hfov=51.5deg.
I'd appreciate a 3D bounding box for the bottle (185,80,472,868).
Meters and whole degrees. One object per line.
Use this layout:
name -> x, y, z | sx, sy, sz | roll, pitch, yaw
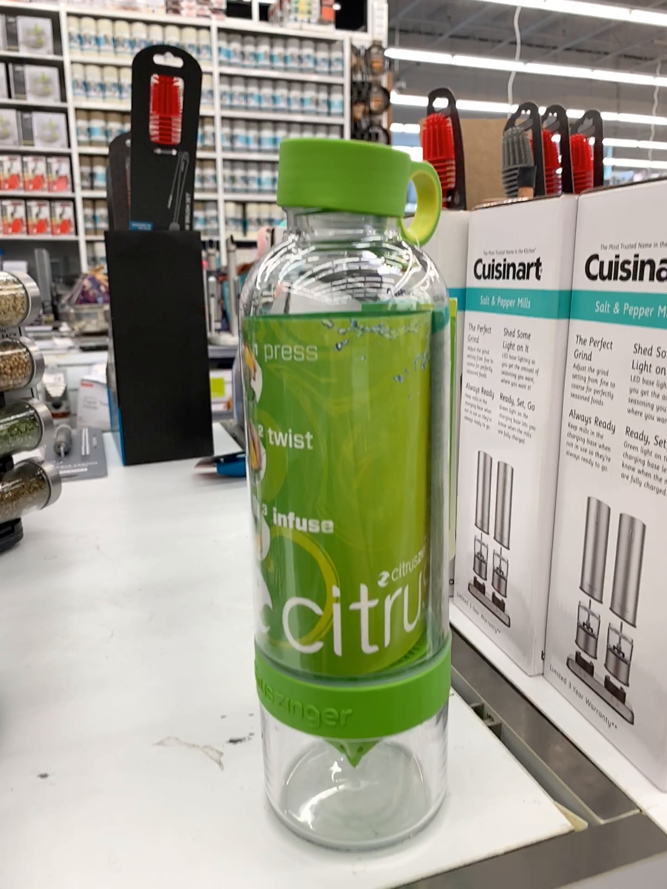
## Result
bottle -> 0.006, 0.014, 0.260 | 0.078, 0.250, 0.081 | -1, 13, 0
